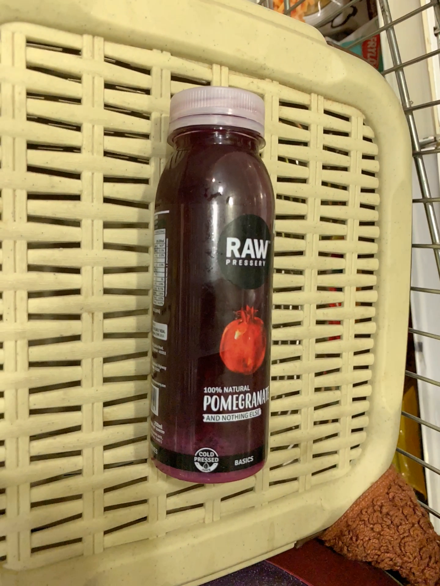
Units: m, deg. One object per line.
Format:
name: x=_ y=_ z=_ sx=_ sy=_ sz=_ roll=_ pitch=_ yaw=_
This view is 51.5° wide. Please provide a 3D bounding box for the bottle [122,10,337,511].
bottle: x=0.001 y=-0.009 z=0.183 sx=0.060 sy=0.050 sz=0.160 roll=0 pitch=95 yaw=-32
